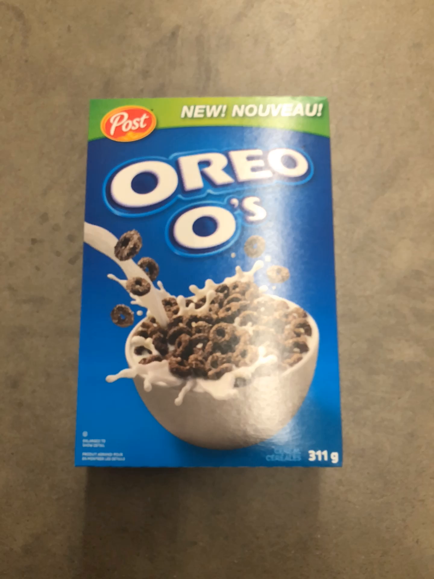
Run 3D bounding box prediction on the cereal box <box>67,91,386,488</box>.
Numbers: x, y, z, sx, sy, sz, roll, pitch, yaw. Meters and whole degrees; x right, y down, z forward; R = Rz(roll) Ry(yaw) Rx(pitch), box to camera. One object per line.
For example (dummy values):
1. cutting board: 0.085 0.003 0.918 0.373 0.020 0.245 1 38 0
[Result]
1. cereal box: 0.006 -0.003 0.375 0.210 0.070 0.280 0 81 2
